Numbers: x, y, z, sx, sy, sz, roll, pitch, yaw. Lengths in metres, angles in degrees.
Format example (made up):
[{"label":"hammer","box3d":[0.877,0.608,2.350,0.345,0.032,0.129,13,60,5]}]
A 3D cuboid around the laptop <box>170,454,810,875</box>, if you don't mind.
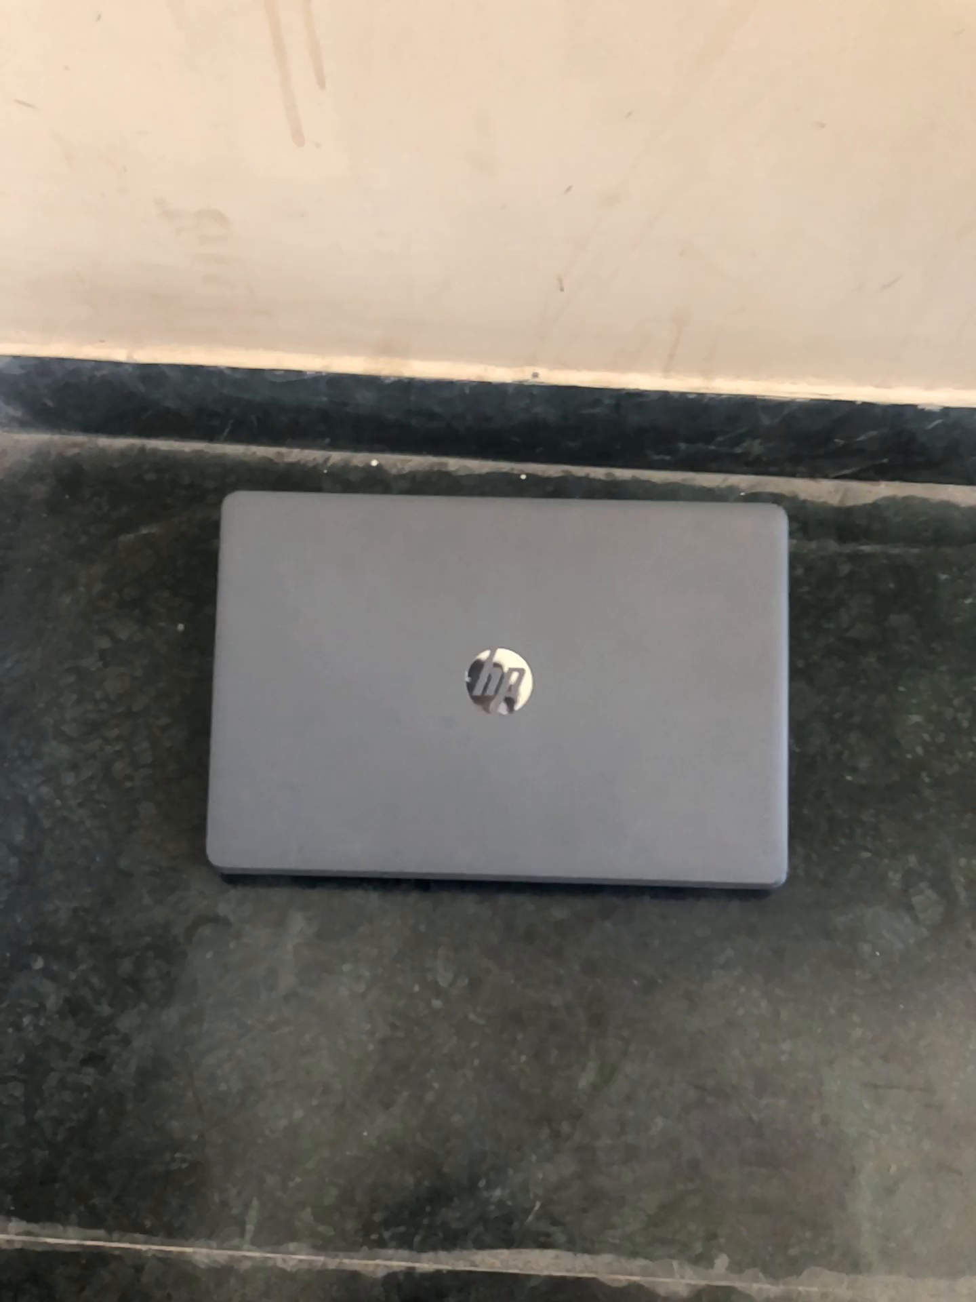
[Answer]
[{"label":"laptop","box3d":[0.004,0.007,0.691,0.357,0.092,0.243,1,66,1]}]
